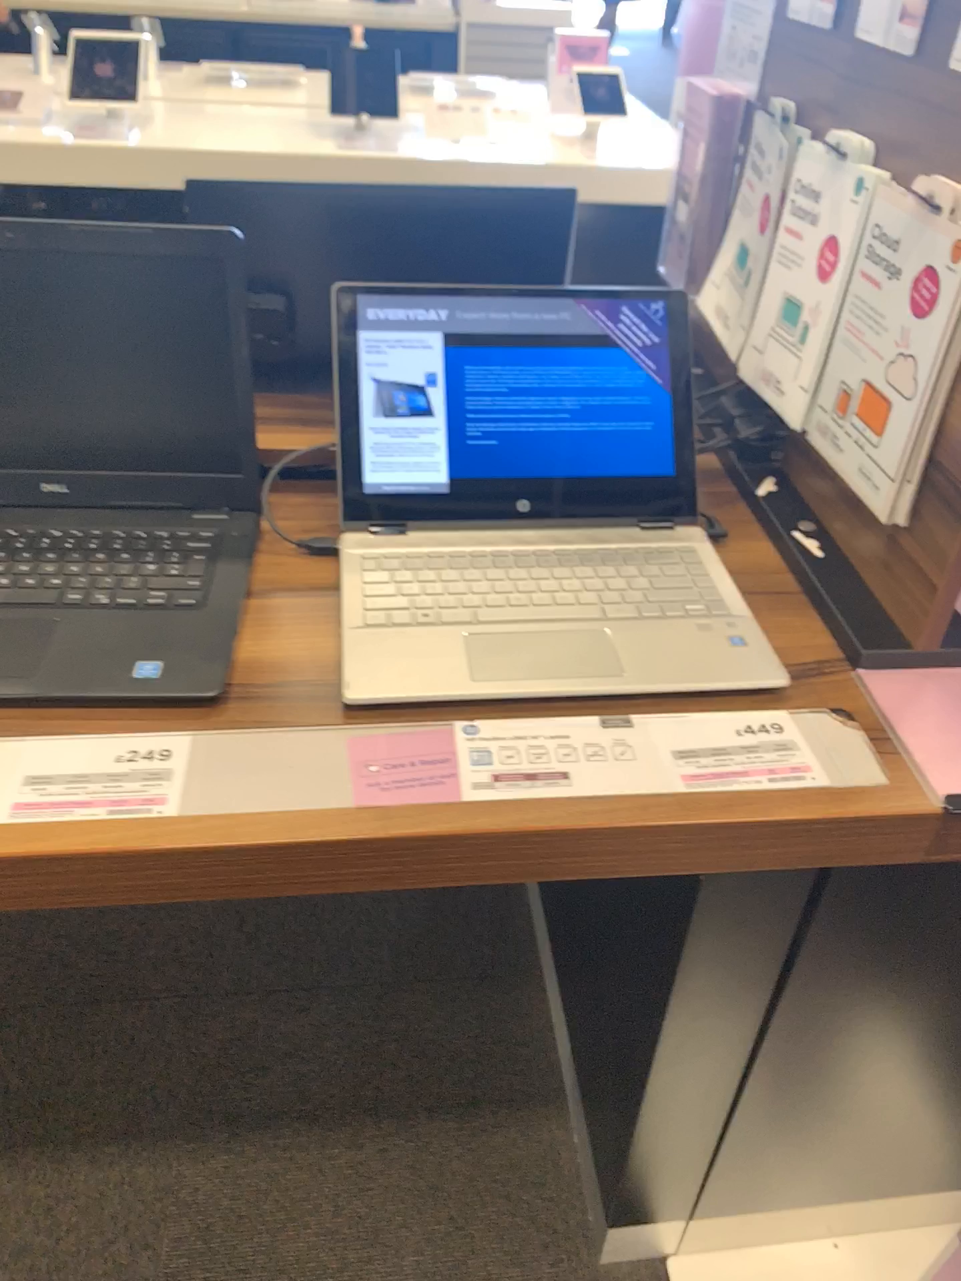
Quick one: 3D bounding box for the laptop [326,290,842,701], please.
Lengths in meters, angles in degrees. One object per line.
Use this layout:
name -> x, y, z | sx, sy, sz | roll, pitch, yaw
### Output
laptop -> 0.040, -0.137, 0.782 | 0.313, 0.154, 0.363 | -2, 38, -7
